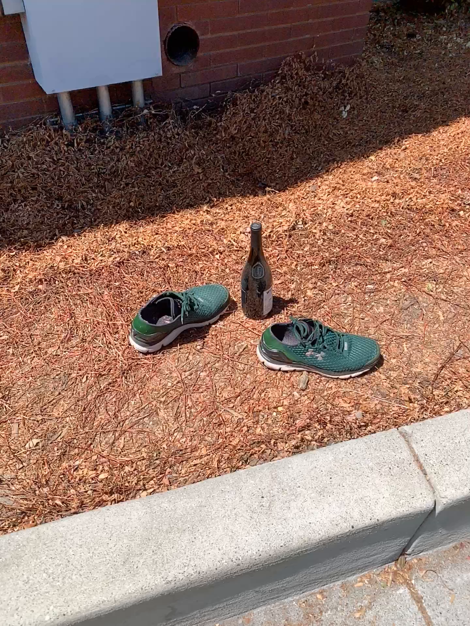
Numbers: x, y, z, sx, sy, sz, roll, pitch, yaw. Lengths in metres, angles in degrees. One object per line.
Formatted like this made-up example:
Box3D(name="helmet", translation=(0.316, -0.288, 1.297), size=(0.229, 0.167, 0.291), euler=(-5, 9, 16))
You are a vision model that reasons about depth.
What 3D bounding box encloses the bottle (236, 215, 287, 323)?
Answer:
Box3D(name="bottle", translation=(0.063, -0.106, 1.226), size=(0.090, 0.259, 0.090), euler=(2, 45, -2))
